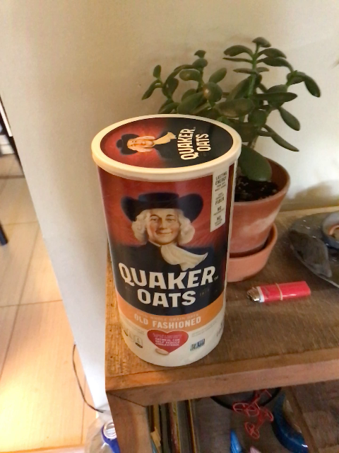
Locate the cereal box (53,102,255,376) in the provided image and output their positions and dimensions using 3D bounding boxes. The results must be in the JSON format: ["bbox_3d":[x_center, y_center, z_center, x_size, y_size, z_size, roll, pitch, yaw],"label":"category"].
[{"bbox_3d":[-0.003,0.019,0.385,0.140,0.248,0.141,1,37,4],"label":"cereal box"}]
